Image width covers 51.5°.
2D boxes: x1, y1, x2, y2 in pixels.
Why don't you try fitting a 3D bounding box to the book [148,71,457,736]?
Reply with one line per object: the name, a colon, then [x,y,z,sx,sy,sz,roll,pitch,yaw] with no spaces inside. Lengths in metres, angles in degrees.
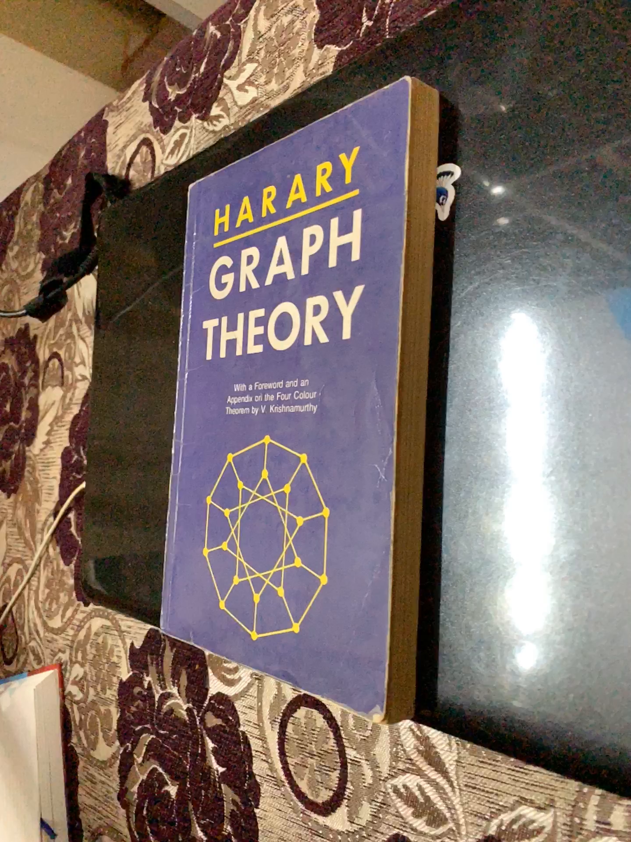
book: [-0.014,-0.007,0.255,0.141,0.020,0.200,0,85,47]
